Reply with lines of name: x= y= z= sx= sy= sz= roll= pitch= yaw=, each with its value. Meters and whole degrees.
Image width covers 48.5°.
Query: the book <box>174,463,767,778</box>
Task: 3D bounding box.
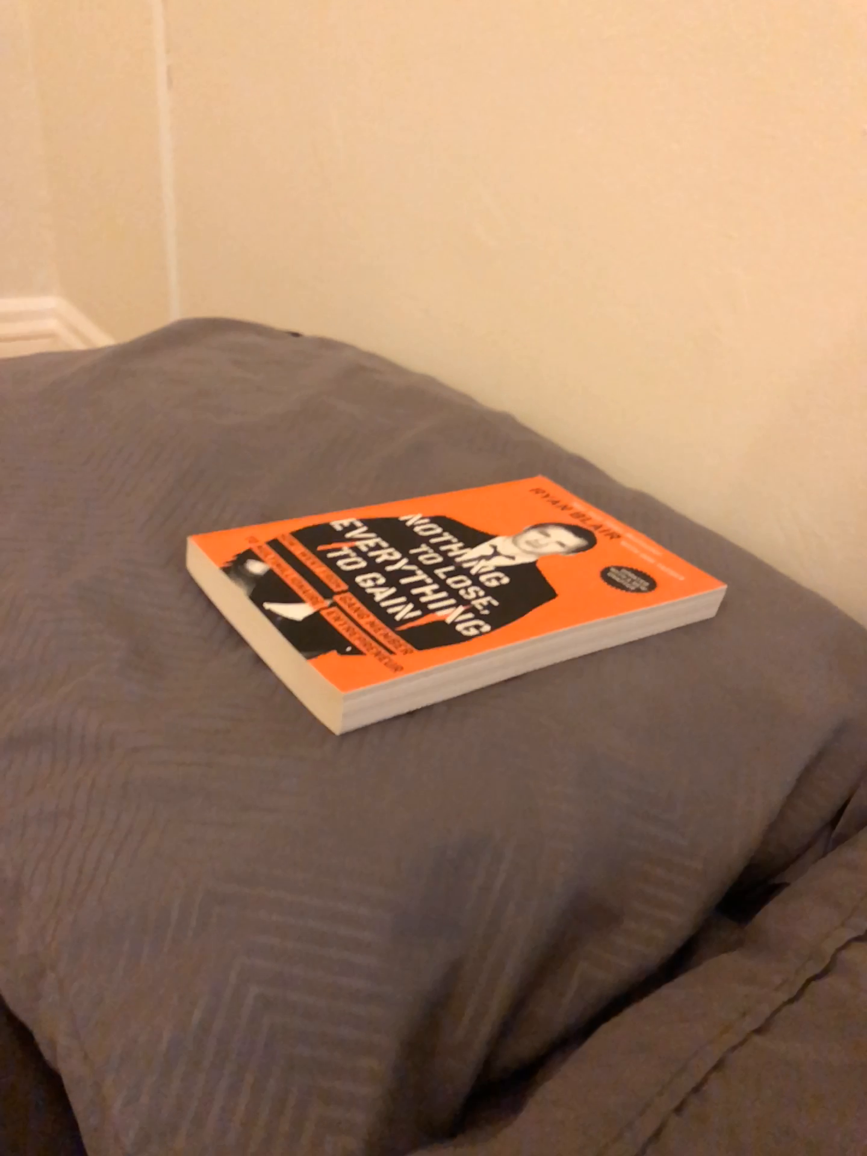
book: x=0.020 y=0.002 z=0.444 sx=0.231 sy=0.020 sz=0.151 roll=-13 pitch=38 yaw=-33
